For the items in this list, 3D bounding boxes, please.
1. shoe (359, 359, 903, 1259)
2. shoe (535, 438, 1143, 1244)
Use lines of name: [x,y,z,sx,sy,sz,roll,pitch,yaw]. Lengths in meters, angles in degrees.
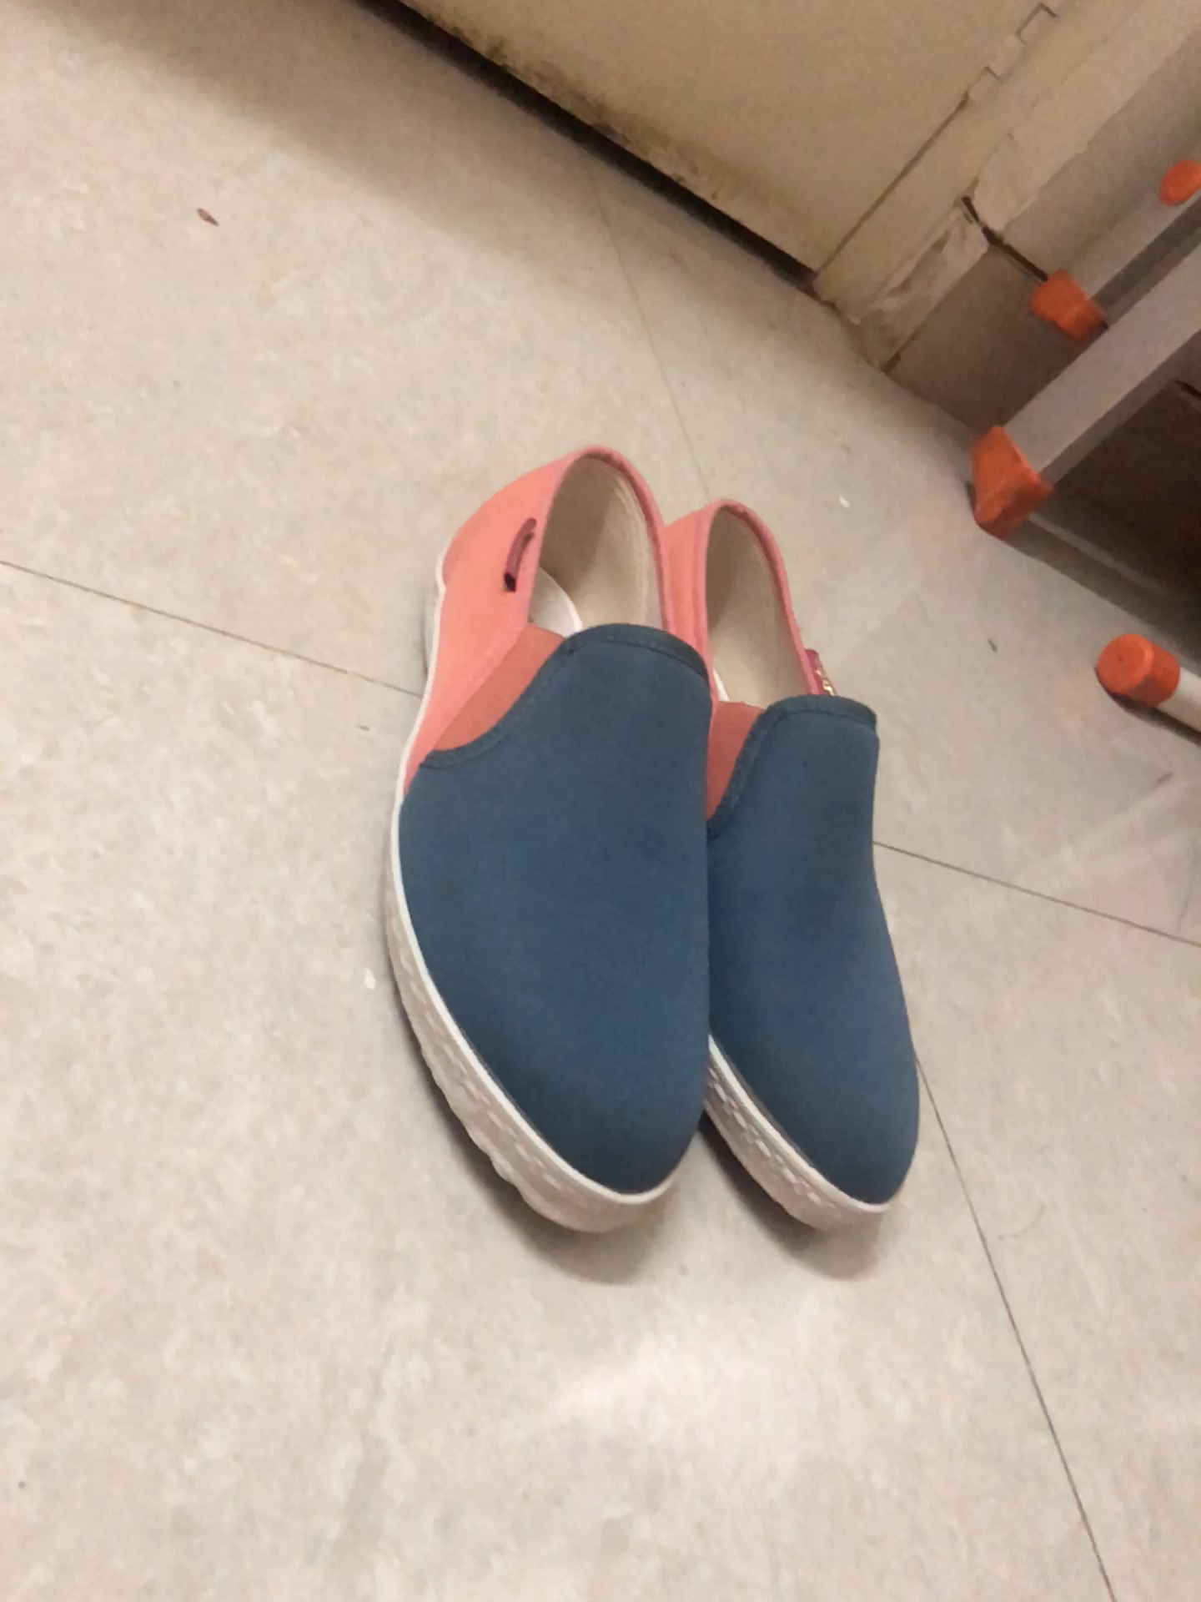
shoe: [-0.005,-0.008,0.339,0.090,0.060,0.221,20,42,-31]
shoe: [0.055,0.005,0.378,0.090,0.060,0.221,15,45,-36]
